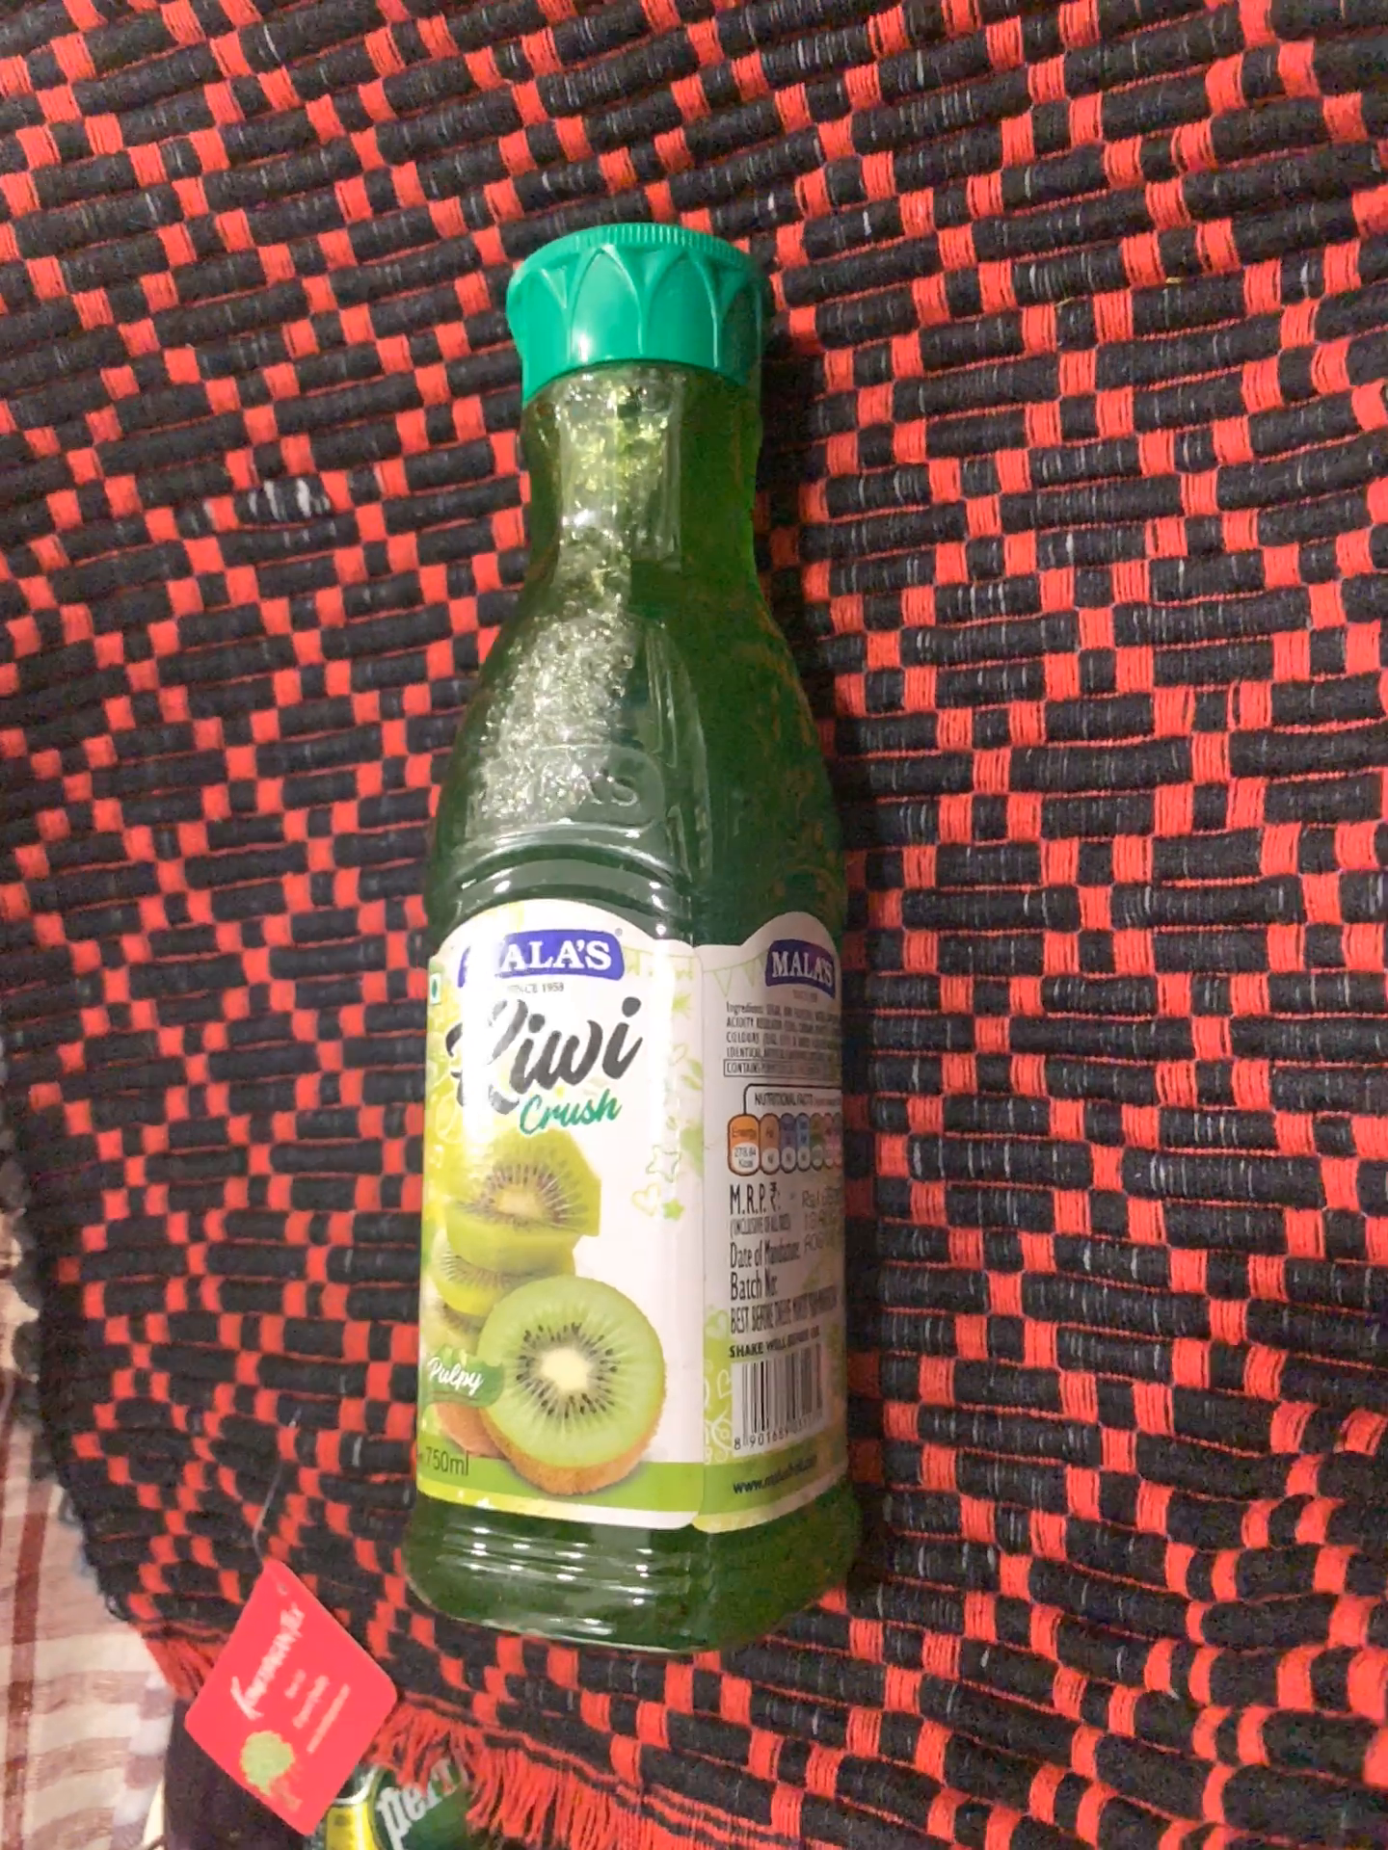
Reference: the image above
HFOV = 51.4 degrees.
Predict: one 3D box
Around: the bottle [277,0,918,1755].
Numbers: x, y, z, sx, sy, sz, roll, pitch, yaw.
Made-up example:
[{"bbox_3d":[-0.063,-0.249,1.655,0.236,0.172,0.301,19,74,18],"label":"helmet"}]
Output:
[{"bbox_3d":[-0.008,-0.017,0.252,0.070,0.080,0.260,-3,79,26],"label":"bottle"}]
